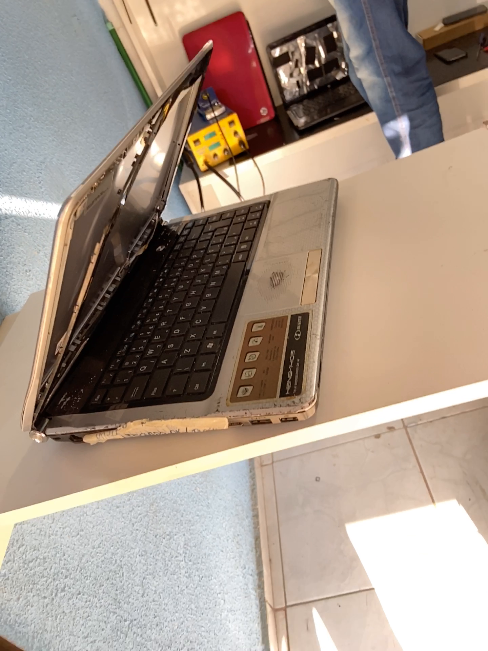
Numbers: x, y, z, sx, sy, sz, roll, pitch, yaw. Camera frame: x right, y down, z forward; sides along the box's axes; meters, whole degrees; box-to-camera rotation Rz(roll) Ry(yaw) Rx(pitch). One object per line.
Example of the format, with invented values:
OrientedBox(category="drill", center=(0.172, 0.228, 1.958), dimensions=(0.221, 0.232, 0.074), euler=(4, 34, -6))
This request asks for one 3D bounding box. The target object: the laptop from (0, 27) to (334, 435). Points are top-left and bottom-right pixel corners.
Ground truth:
OrientedBox(category="laptop", center=(-0.067, -0.096, 0.435), dimensions=(0.232, 0.160, 0.328), euler=(-10, 38, 22))
